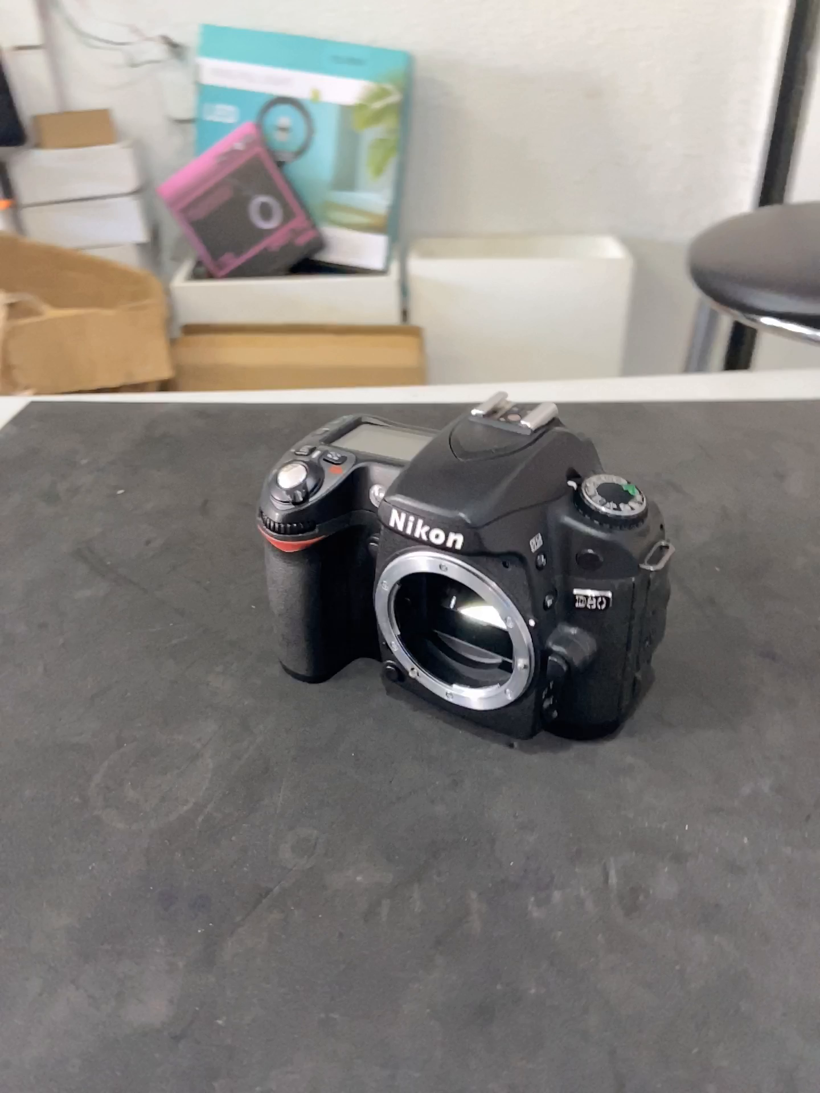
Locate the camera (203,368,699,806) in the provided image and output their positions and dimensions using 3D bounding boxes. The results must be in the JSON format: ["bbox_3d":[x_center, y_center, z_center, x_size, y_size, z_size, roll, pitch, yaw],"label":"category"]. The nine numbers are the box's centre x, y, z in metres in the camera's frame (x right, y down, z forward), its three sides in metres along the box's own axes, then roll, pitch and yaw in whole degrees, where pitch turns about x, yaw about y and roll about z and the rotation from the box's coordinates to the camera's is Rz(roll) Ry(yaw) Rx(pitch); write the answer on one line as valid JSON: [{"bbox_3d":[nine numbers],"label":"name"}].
[{"bbox_3d":[0.015,0.005,0.296,0.136,0.088,0.084,17,38,28],"label":"camera"}]
